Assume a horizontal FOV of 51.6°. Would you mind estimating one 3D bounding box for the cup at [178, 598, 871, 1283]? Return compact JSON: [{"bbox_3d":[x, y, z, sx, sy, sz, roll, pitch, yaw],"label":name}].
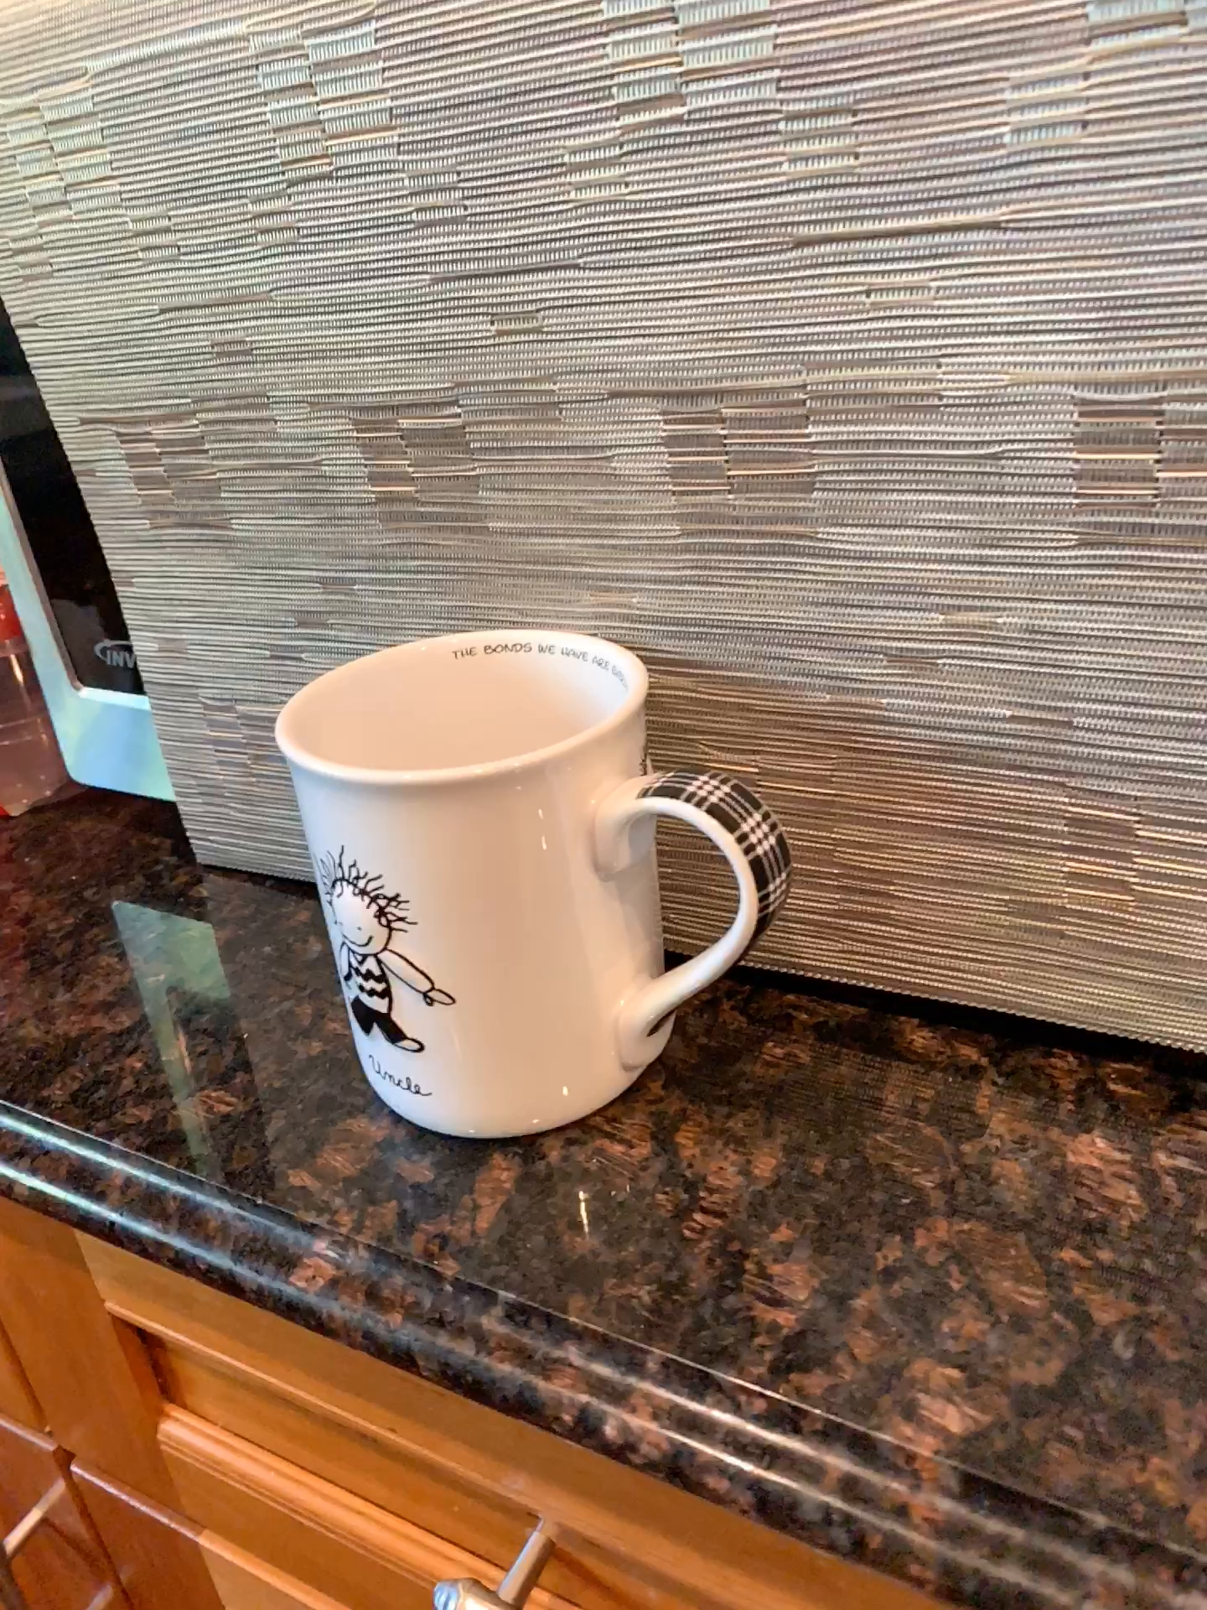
[{"bbox_3d":[-0.013,0.022,0.318,0.130,0.109,0.100,13,33,32],"label":"cup"}]
